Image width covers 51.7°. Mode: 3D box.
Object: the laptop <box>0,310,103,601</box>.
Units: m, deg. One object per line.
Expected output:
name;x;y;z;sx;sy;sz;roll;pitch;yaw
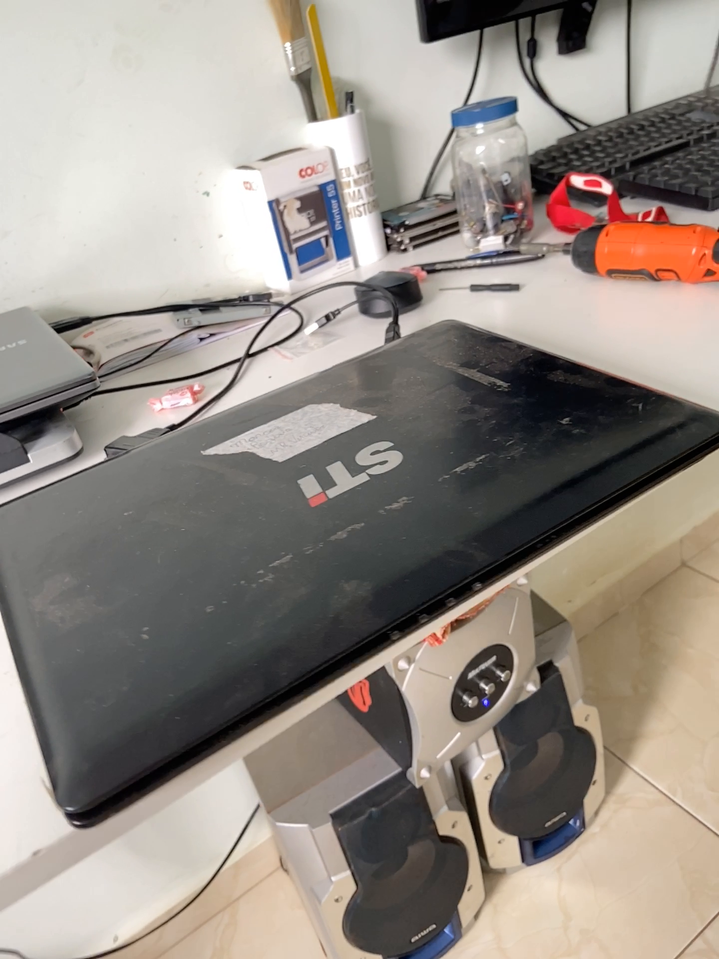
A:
laptop;-0.385;-0.049;0.533;0.344;0.006;0.228;-27;34;-26

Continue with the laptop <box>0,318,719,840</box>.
laptop;-0.014;0.001;0.395;0.337;0.011;0.231;-26;35;-22
